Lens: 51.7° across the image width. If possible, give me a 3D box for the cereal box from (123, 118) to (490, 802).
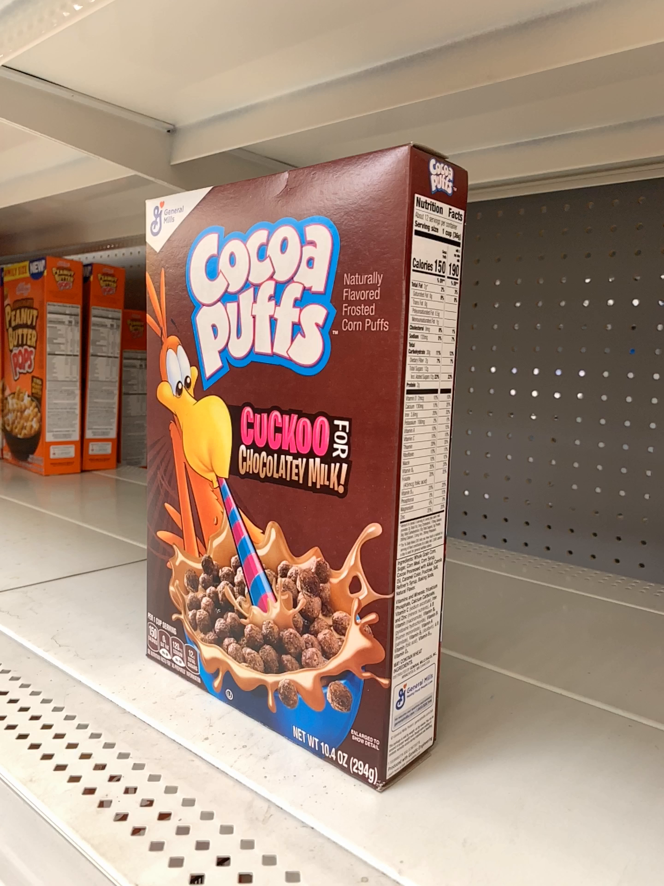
[{"bbox_3d":[-0.029,0.001,0.344,0.200,0.260,0.050,8,9,43],"label":"cereal box"}]
